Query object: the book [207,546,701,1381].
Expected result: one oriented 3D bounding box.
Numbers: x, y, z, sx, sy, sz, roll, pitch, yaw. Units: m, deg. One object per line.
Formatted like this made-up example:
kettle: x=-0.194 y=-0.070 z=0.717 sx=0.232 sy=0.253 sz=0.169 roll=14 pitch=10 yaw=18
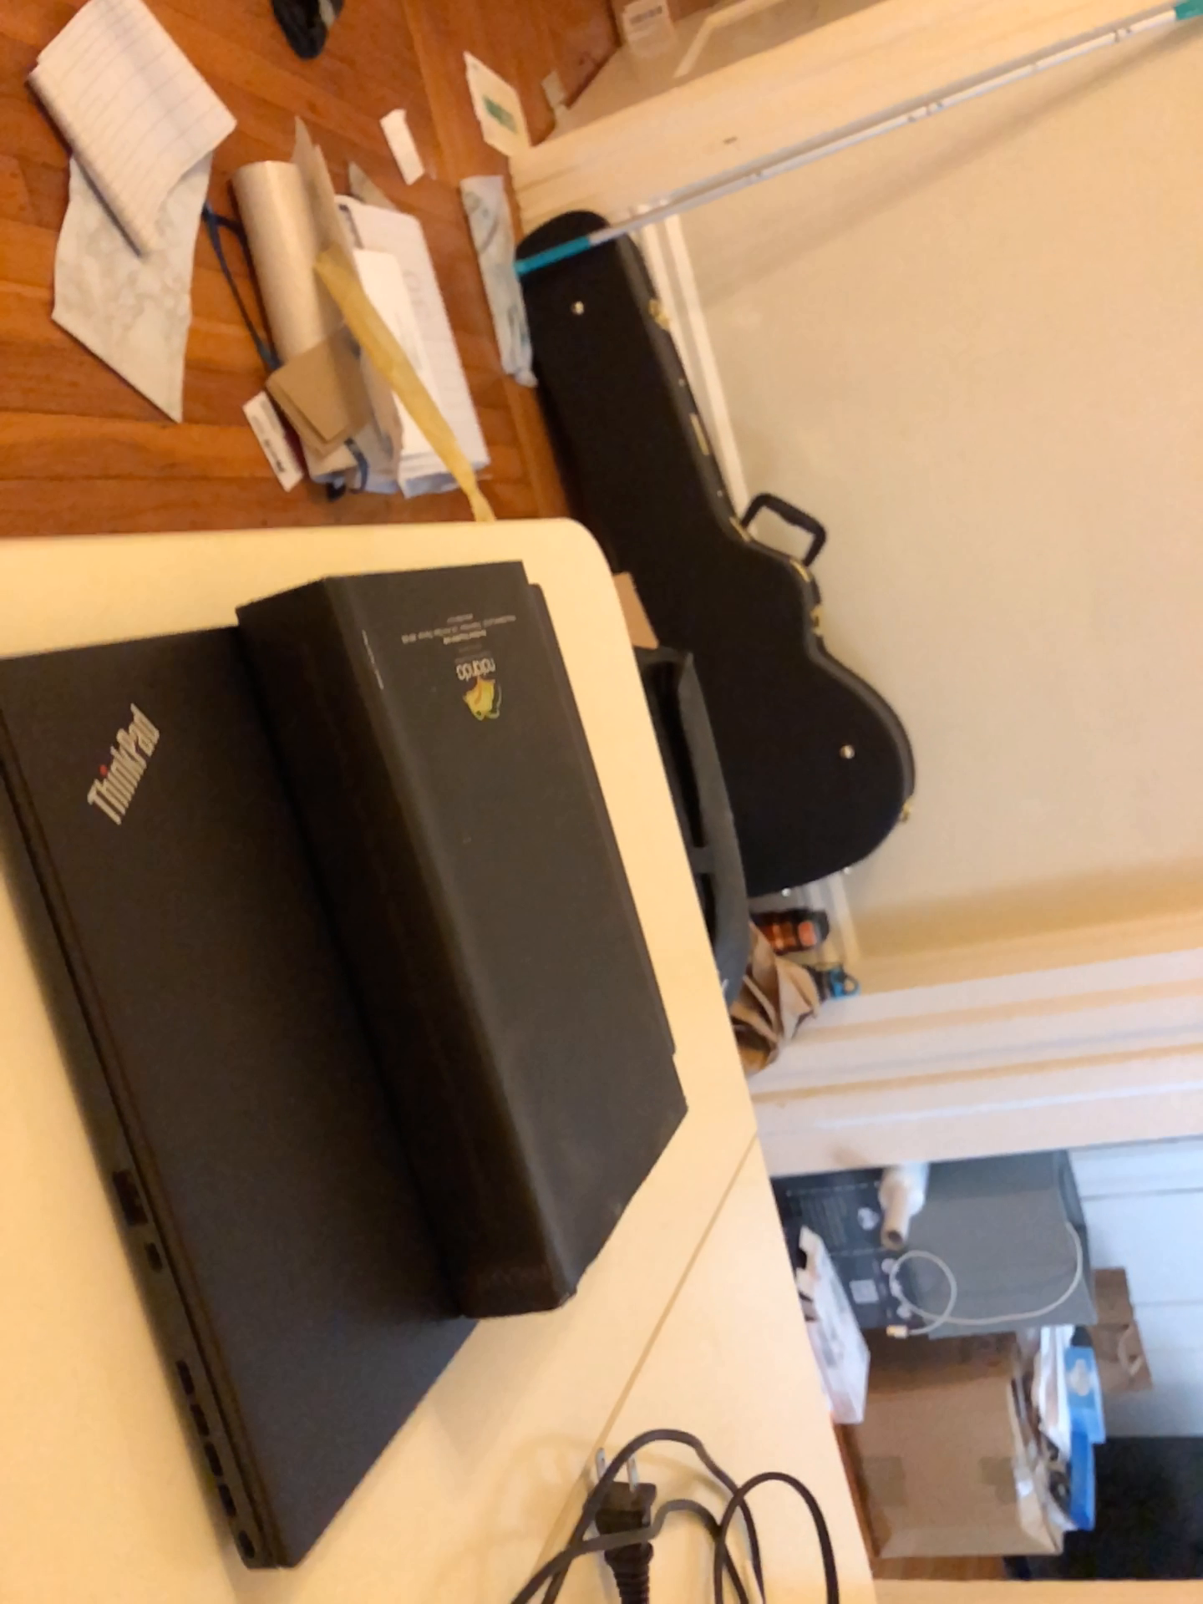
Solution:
book: x=-0.034 y=0.037 z=0.432 sx=0.151 sy=0.040 sz=0.230 roll=-33 pitch=109 yaw=-68
